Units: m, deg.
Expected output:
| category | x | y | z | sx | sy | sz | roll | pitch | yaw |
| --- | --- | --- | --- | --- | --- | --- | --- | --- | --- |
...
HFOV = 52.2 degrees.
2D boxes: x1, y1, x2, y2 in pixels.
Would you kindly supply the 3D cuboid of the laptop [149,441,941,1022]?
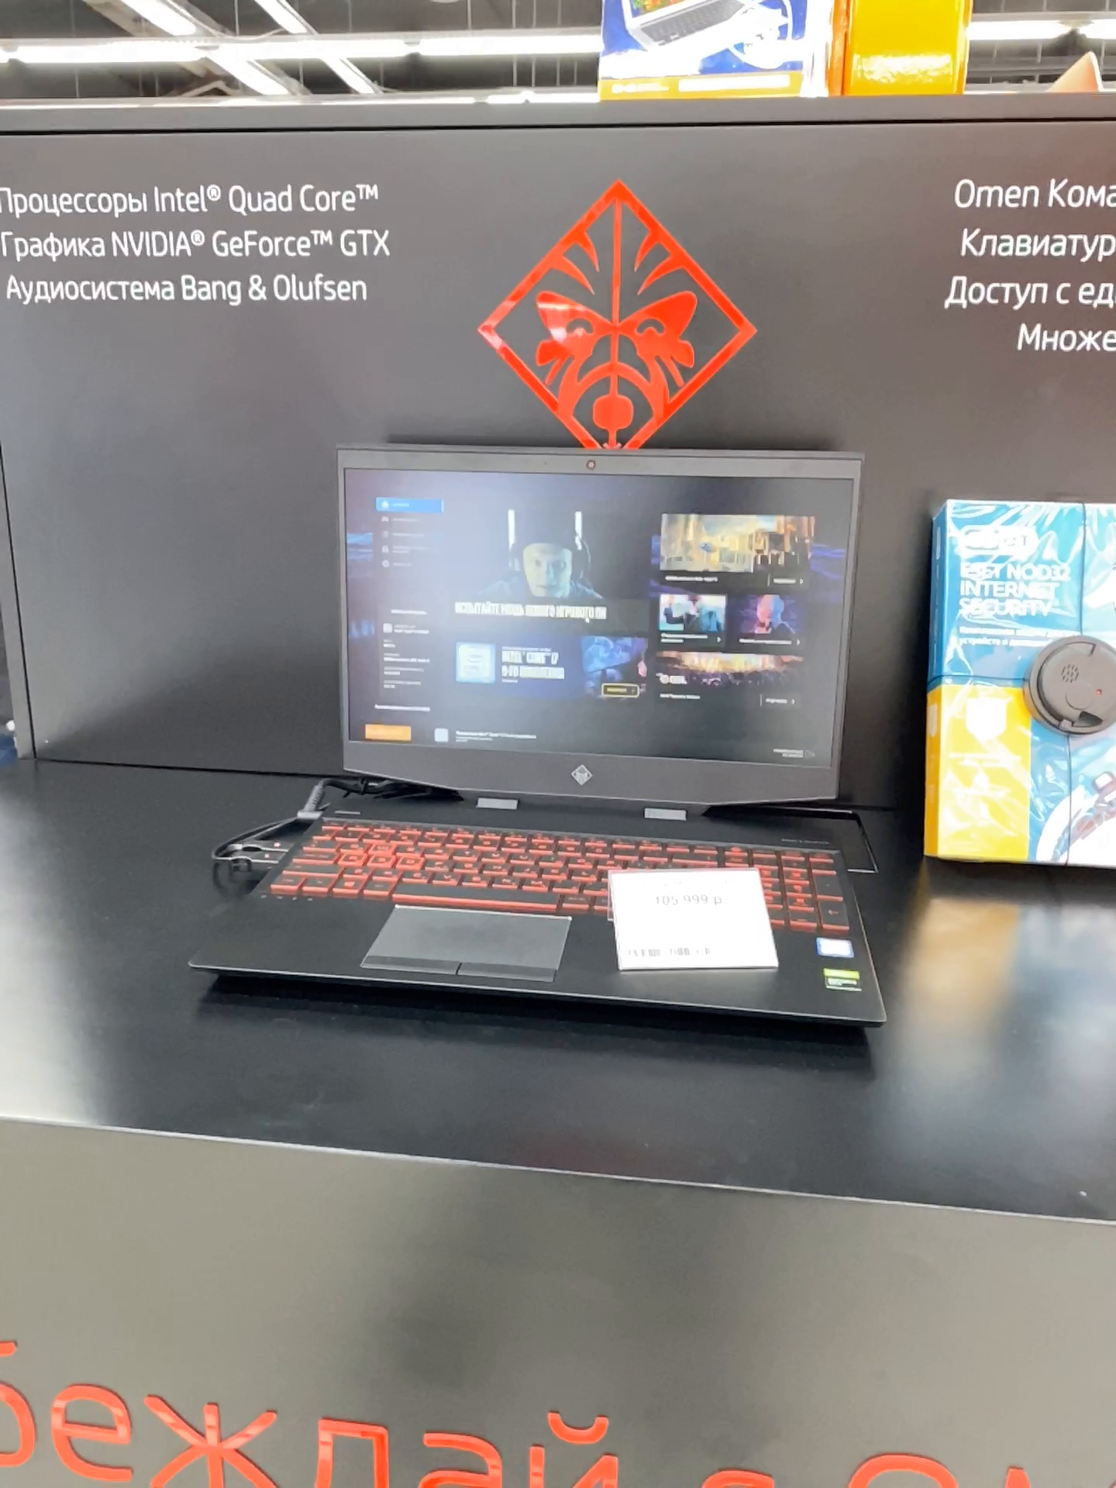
| category | x | y | z | sx | sy | sz | roll | pitch | yaw |
| --- | --- | --- | --- | --- | --- | --- | --- | --- | --- |
| laptop | 0.001 | -0.041 | 0.686 | 0.358 | 0.247 | 0.302 | 3 | 17 | 6 |
